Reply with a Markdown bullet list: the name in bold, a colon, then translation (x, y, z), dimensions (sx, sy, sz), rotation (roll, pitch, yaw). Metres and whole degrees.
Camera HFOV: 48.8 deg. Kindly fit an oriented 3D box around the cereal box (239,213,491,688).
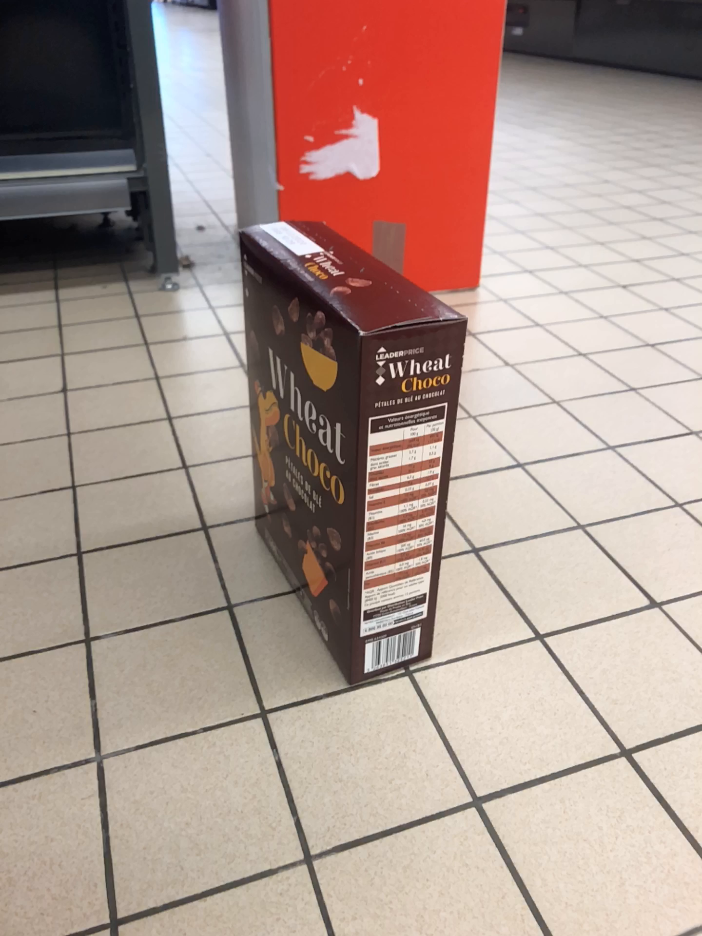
- **cereal box**: translation (-0.003, -0.019, 0.528), dimensions (0.070, 0.249, 0.201), rotation (-14, 35, -21)
